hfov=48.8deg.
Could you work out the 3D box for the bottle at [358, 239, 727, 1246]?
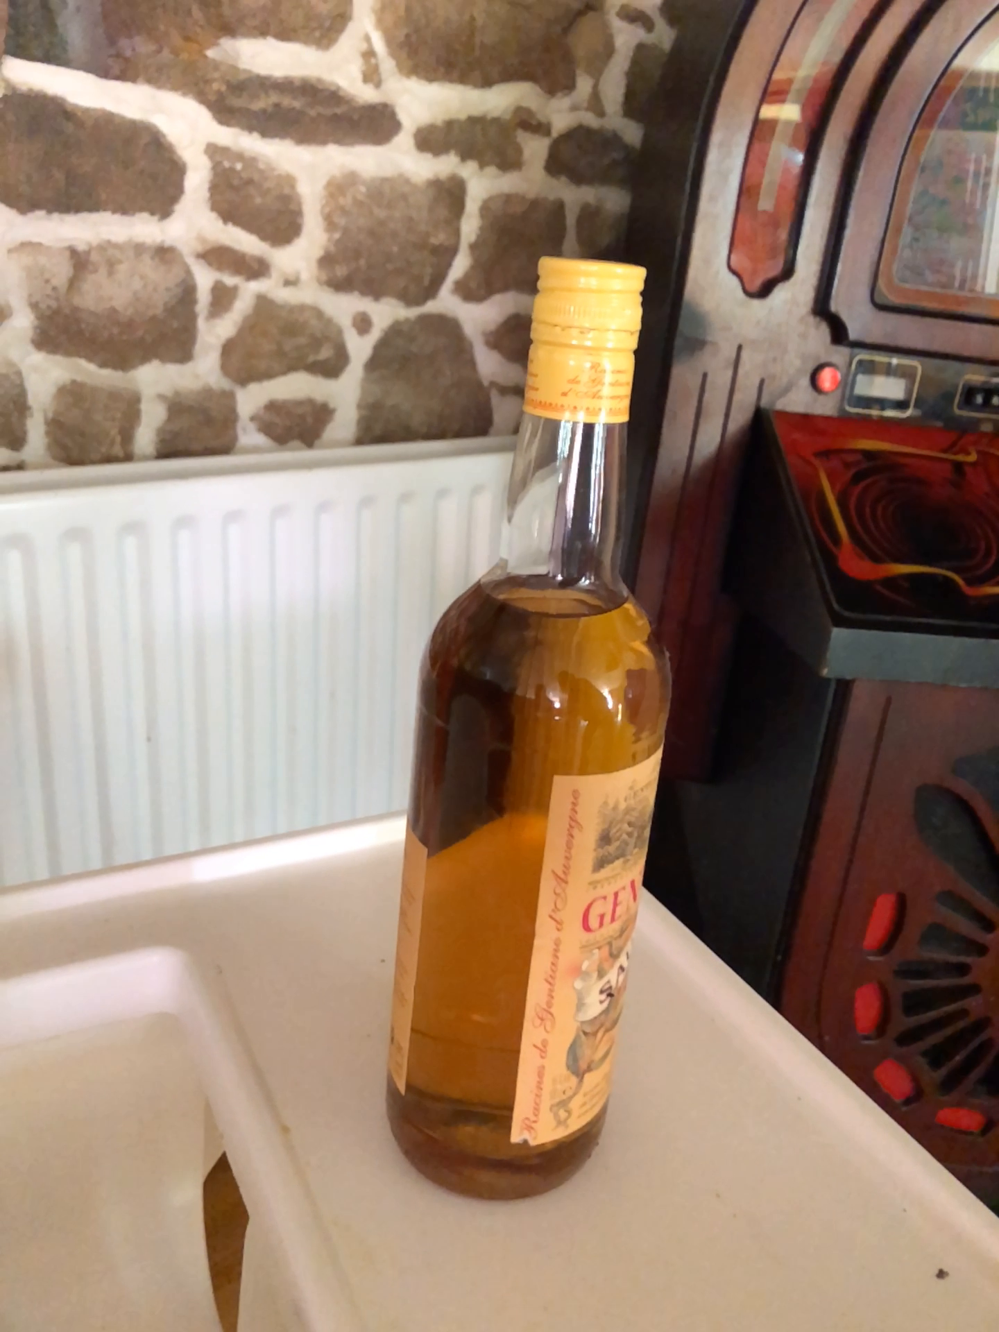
[{"bbox_3d":[0.011,0.027,0.352,0.080,0.299,0.091,8,21,11],"label":"bottle"}]
